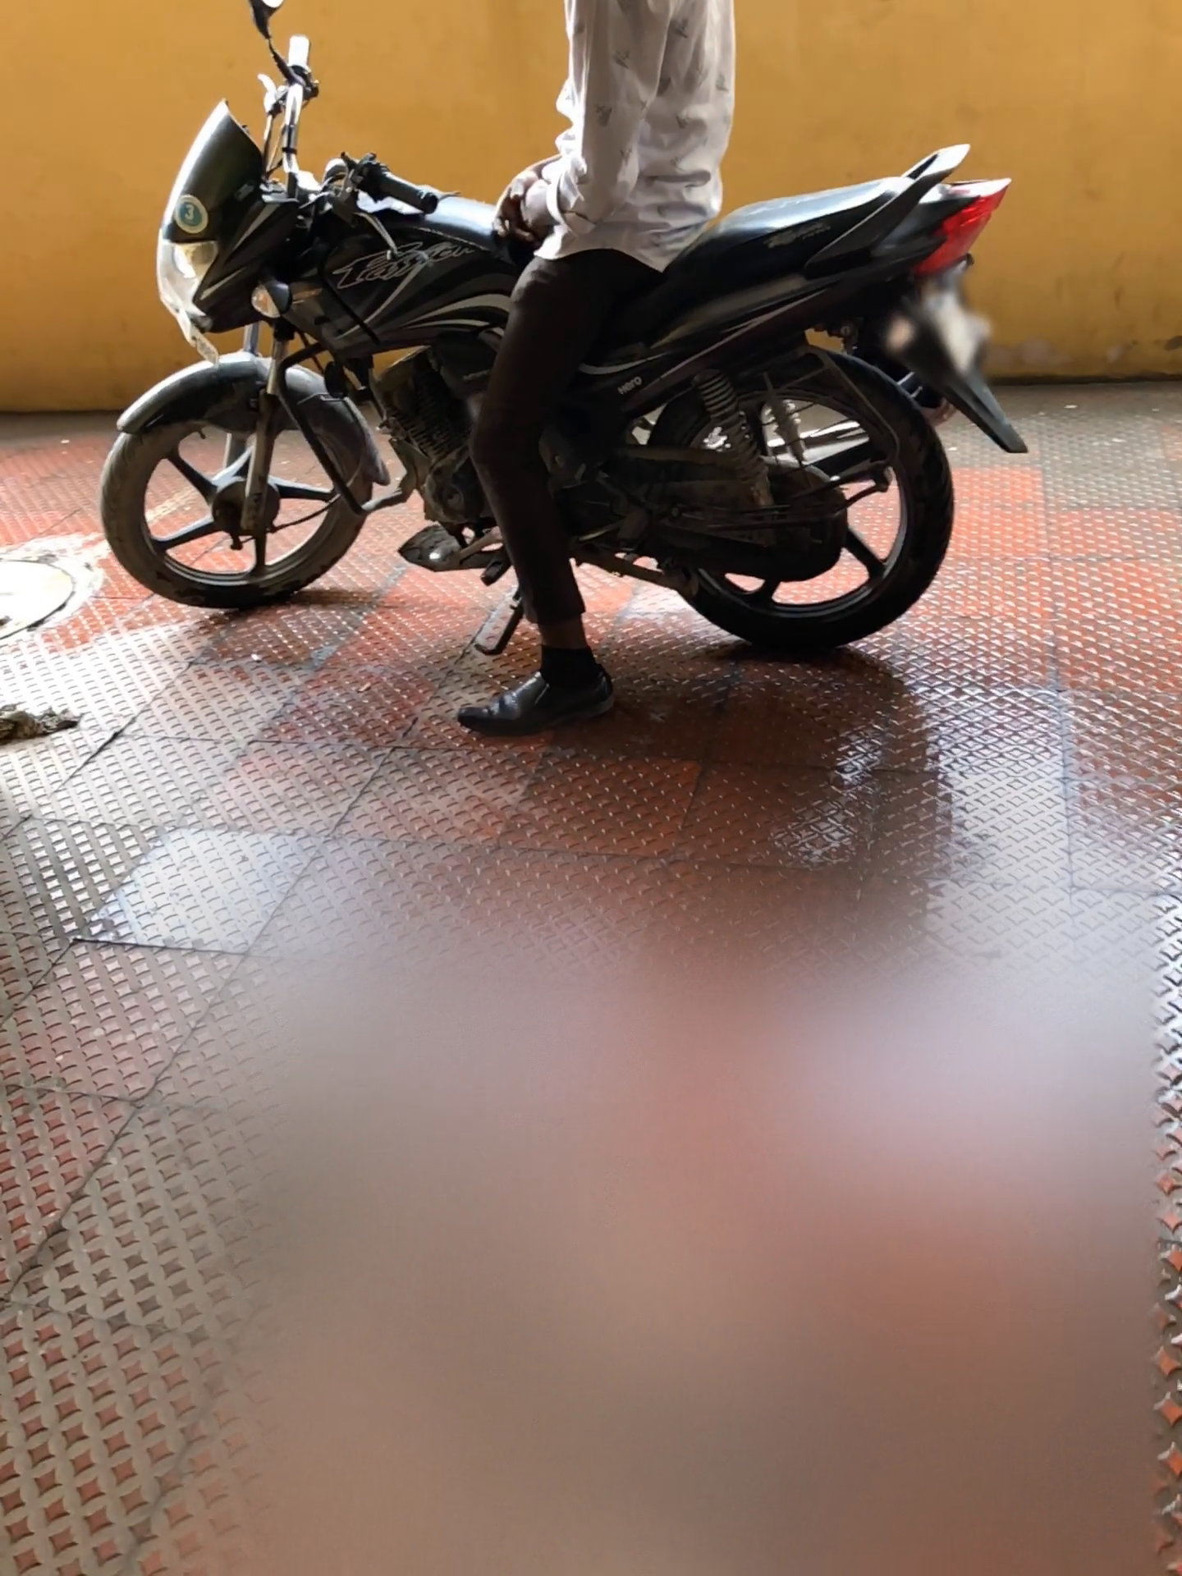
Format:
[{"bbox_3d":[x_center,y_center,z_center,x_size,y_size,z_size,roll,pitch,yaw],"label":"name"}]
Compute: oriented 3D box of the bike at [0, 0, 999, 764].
[{"bbox_3d":[-0.256,-0.796,2.579,1.874,1.185,0.815,3,35,15],"label":"bike"}]
